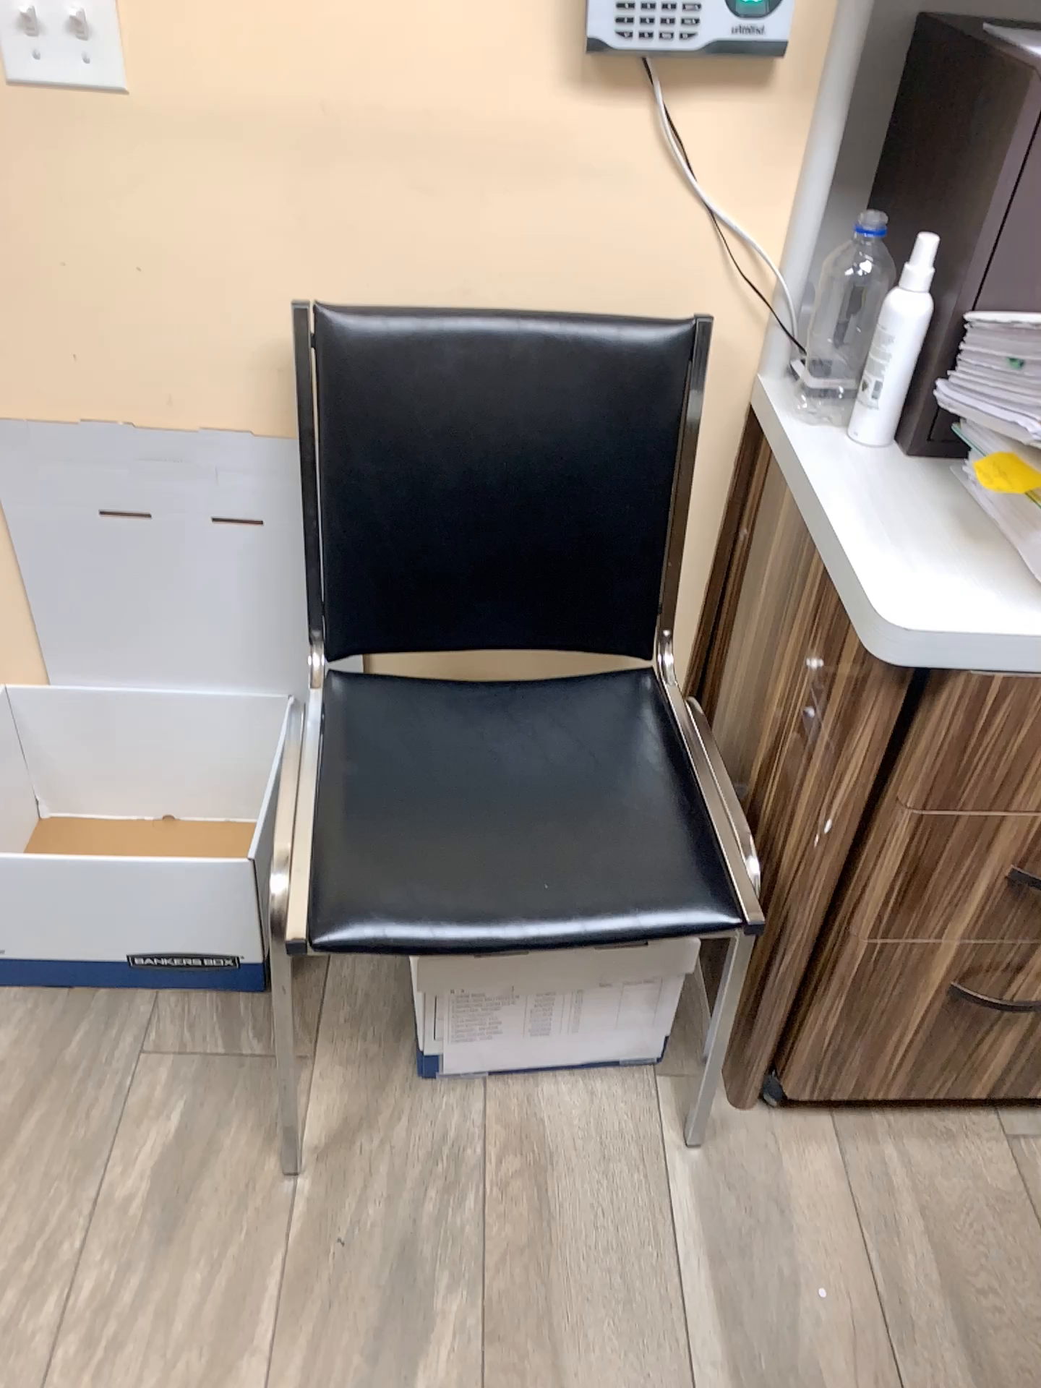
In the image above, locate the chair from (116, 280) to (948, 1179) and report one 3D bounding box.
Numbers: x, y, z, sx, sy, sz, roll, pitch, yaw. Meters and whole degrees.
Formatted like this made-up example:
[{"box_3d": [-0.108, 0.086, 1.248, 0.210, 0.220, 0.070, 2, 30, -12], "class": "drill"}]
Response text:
[{"box_3d": [-0.034, 0.062, 1.159, 0.554, 0.813, 0.531, 0, 41, -7], "class": "chair"}]
